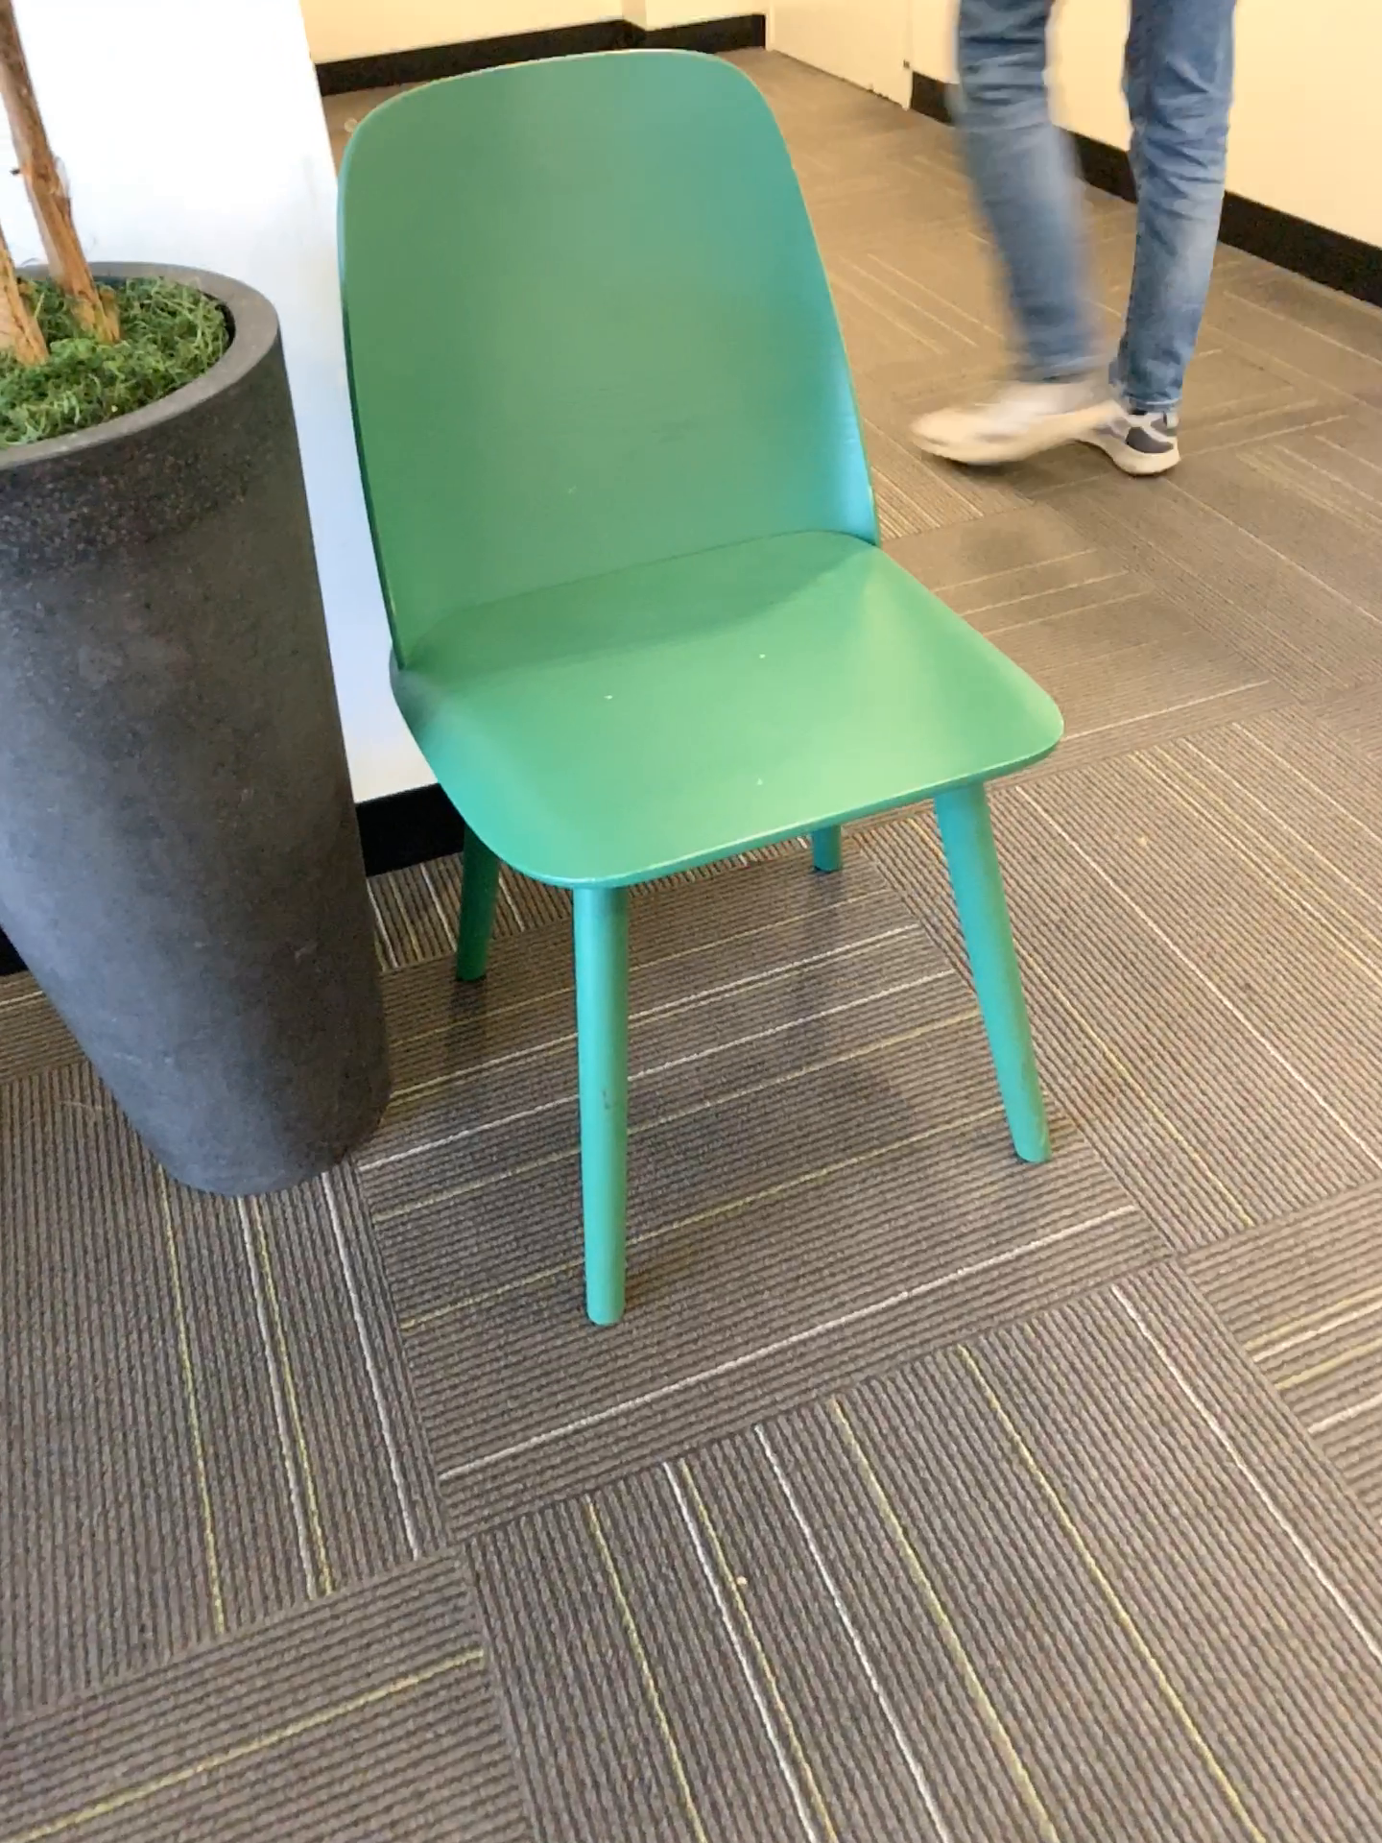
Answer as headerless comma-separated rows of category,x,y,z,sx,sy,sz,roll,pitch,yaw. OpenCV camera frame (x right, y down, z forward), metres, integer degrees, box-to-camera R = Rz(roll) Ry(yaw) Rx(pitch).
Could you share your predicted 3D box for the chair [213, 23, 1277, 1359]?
chair,-0.030,-0.212,1.032,0.390,0.626,0.714,-16,43,-12
